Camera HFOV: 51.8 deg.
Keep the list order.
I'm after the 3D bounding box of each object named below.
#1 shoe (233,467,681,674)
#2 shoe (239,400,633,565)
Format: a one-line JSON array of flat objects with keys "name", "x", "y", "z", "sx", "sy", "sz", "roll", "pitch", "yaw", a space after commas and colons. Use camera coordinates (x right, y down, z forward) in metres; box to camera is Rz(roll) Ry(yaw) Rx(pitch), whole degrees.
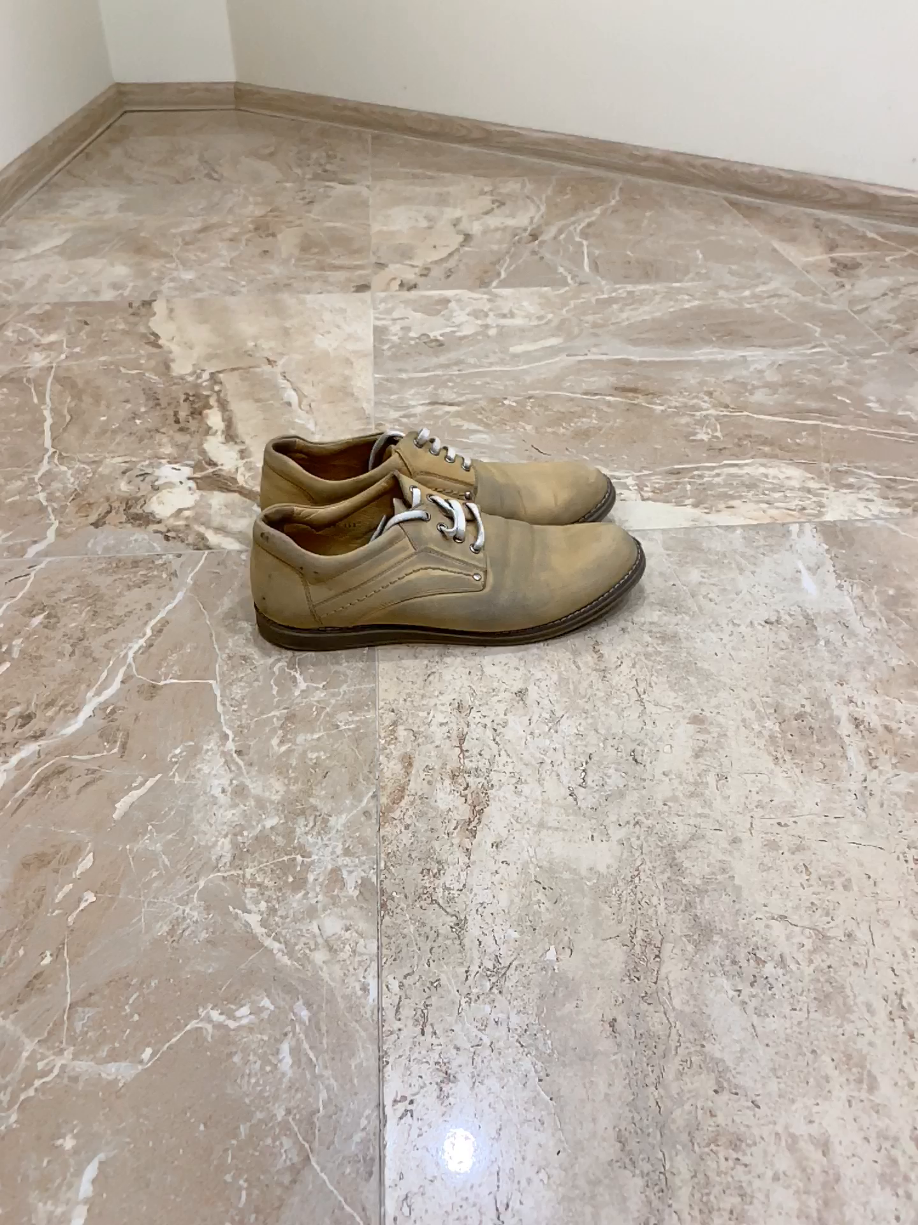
[{"name": "shoe", "x": -0.004, "y": -0.033, "z": 0.655, "sx": 0.280, "sy": 0.080, "sz": 0.111, "roll": -3, "pitch": 38, "yaw": -4}, {"name": "shoe", "x": -0.020, "y": -0.104, "z": 0.736, "sx": 0.280, "sy": 0.070, "sz": 0.111, "roll": -3, "pitch": 38, "yaw": -4}]
